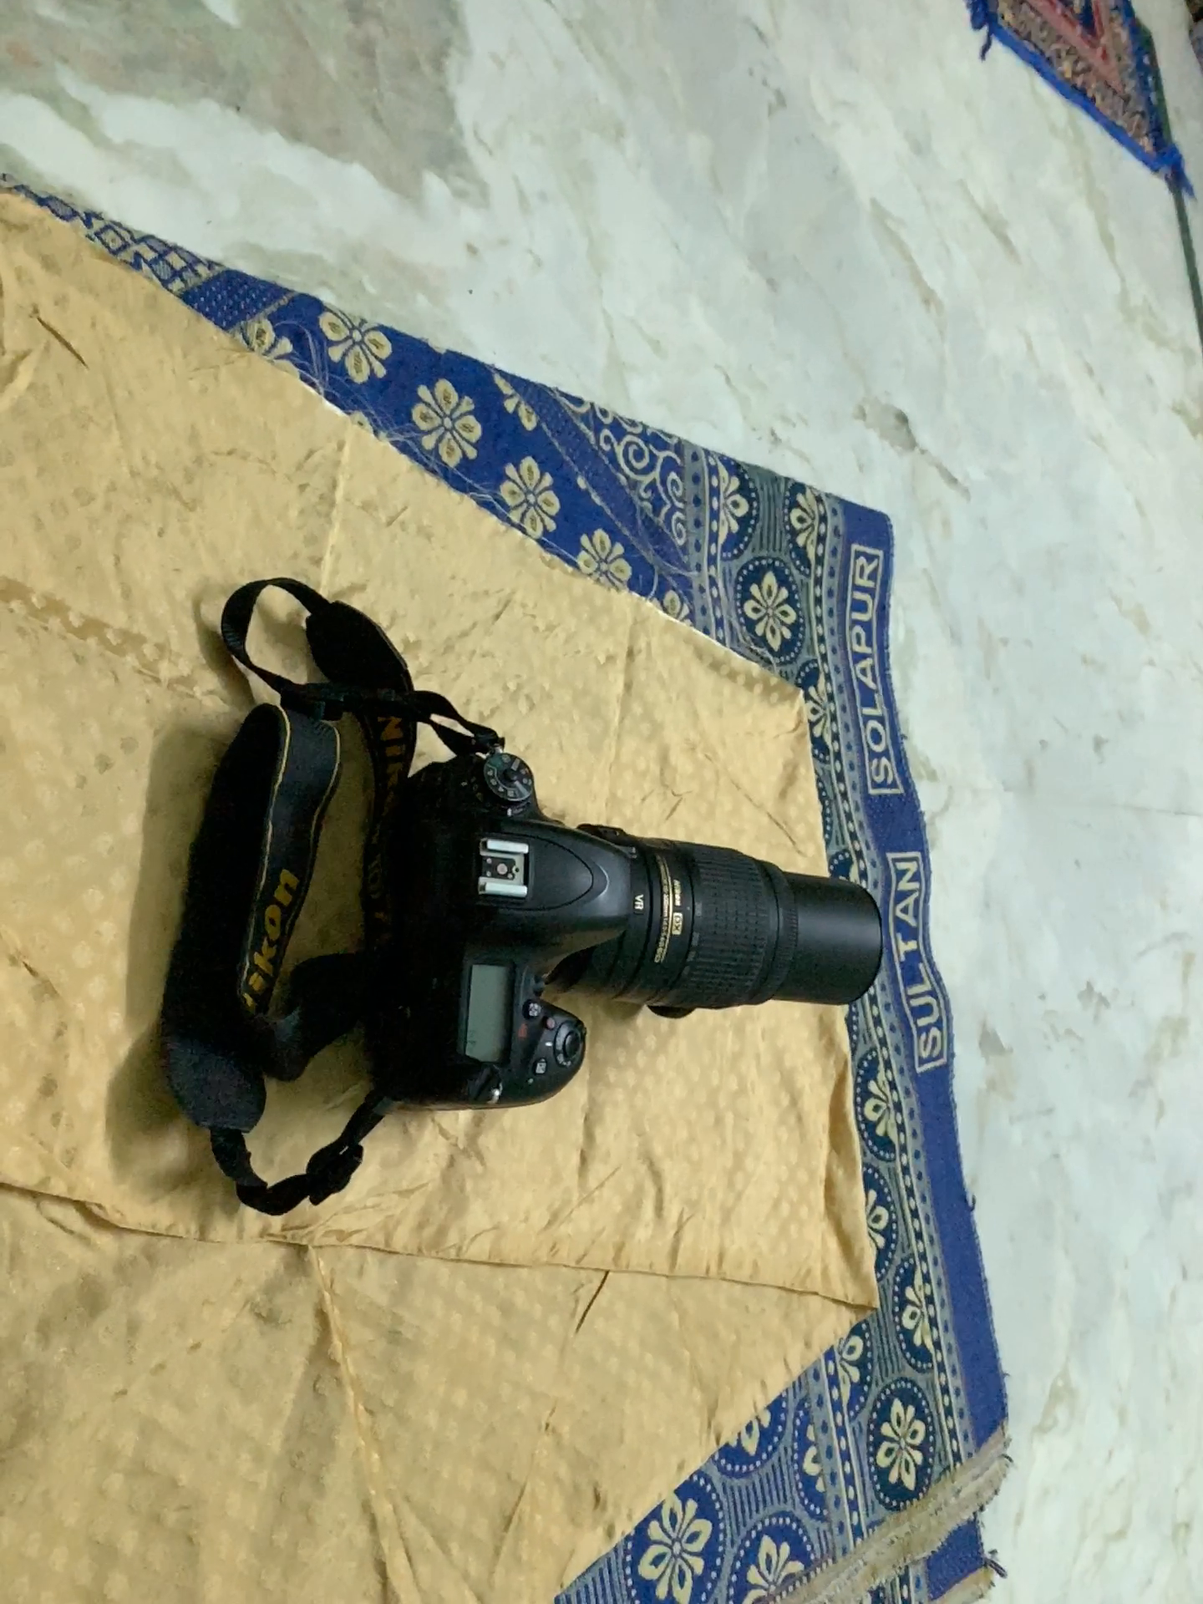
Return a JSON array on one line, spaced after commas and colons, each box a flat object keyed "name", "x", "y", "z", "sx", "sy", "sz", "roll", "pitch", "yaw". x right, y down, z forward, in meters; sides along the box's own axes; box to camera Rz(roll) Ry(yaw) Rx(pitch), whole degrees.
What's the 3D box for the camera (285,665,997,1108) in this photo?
[{"name": "camera", "x": 0.014, "y": 0.058, "z": 0.540, "sx": 0.241, "sy": 0.179, "sz": 0.140, "roll": 9, "pitch": 72, "yaw": -31}]
